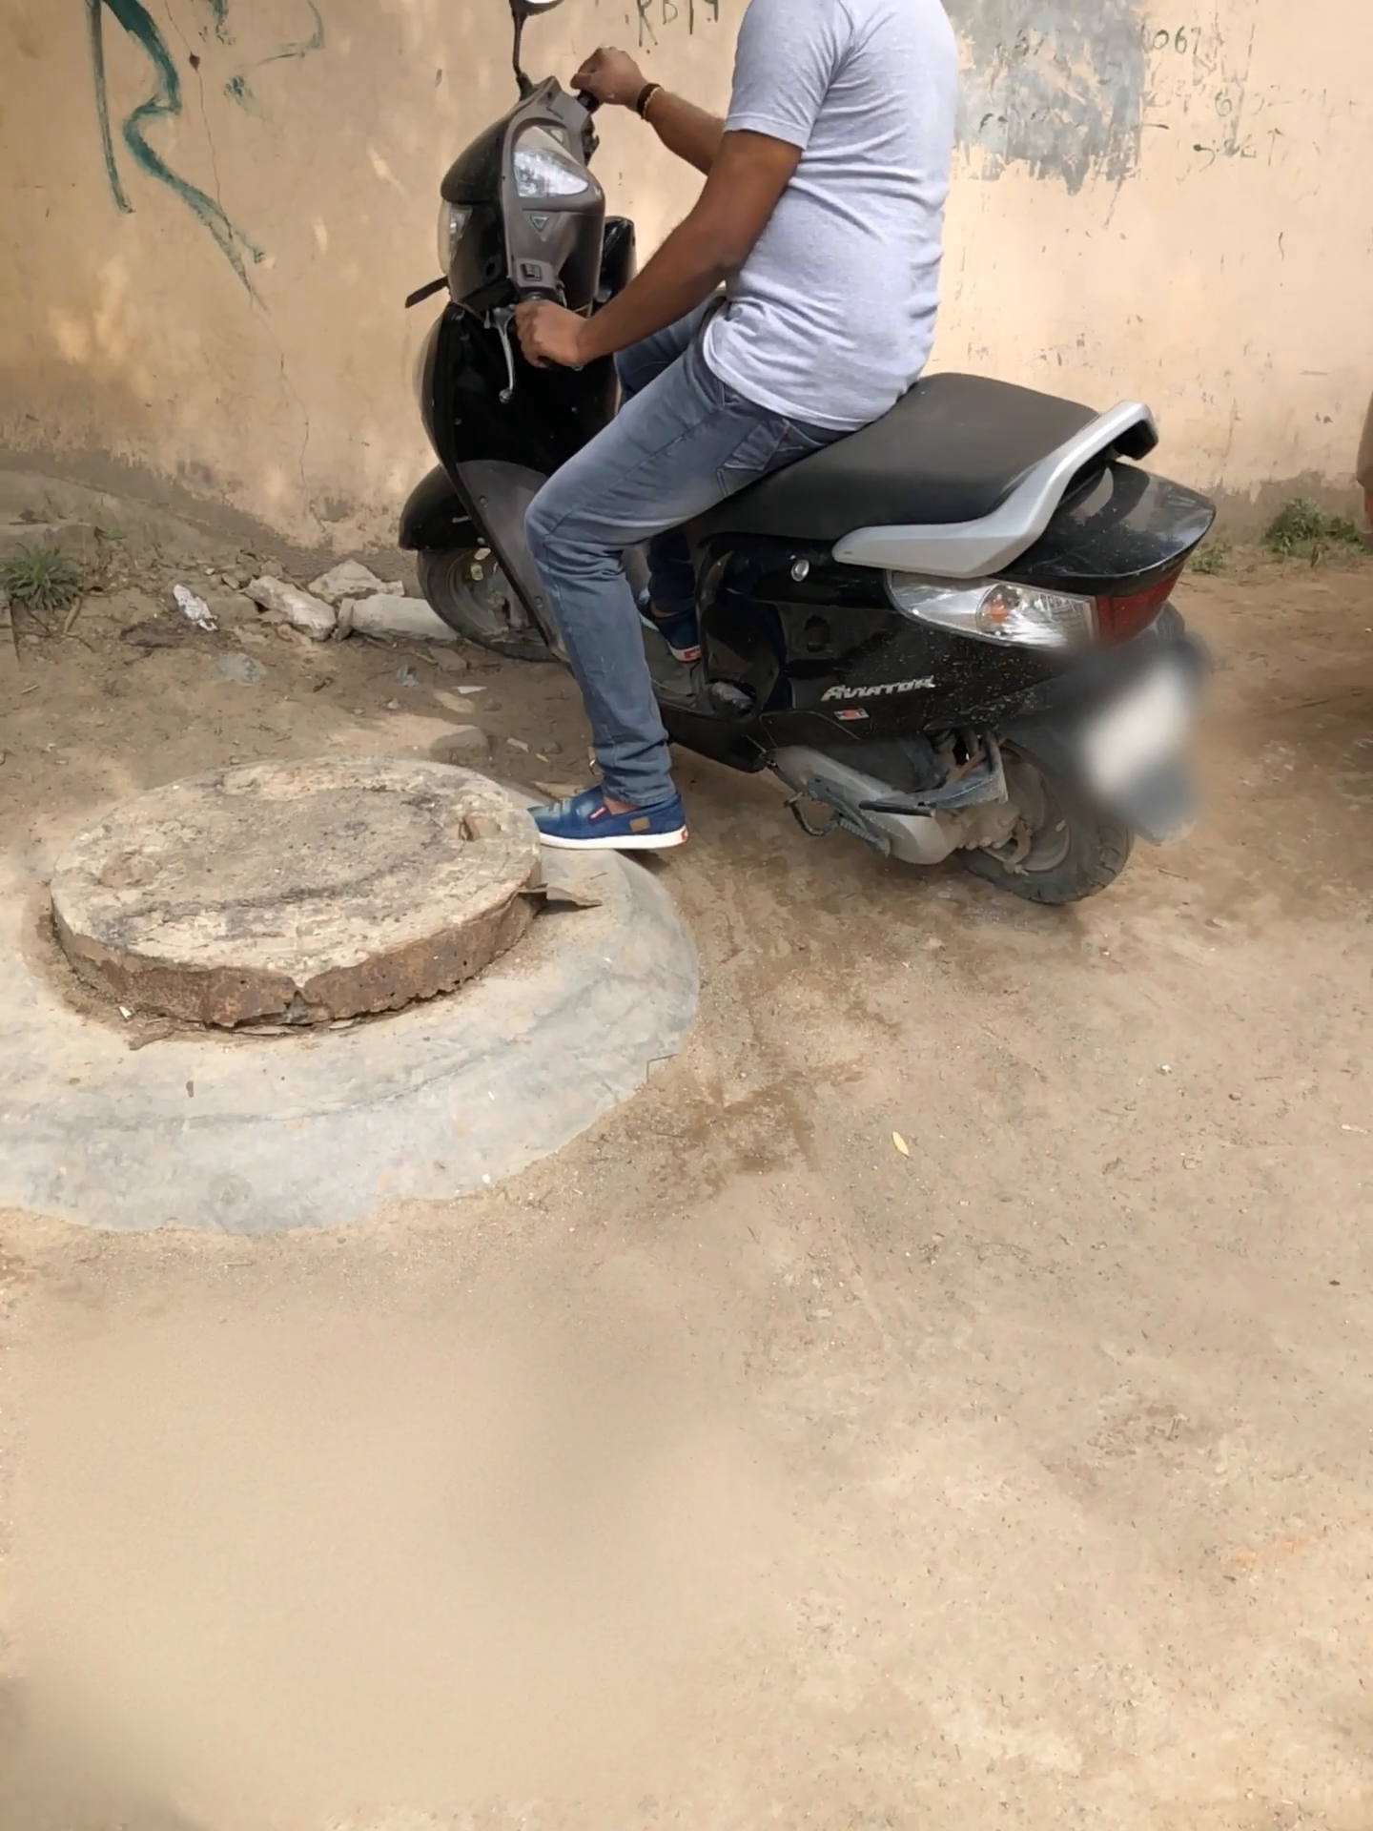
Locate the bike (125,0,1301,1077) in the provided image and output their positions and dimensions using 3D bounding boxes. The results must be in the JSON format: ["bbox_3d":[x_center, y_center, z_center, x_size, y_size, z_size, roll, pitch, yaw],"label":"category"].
[{"bbox_3d":[-0.059,-0.733,2.460,1.652,1.228,0.655,24,35,34],"label":"bike"}]
